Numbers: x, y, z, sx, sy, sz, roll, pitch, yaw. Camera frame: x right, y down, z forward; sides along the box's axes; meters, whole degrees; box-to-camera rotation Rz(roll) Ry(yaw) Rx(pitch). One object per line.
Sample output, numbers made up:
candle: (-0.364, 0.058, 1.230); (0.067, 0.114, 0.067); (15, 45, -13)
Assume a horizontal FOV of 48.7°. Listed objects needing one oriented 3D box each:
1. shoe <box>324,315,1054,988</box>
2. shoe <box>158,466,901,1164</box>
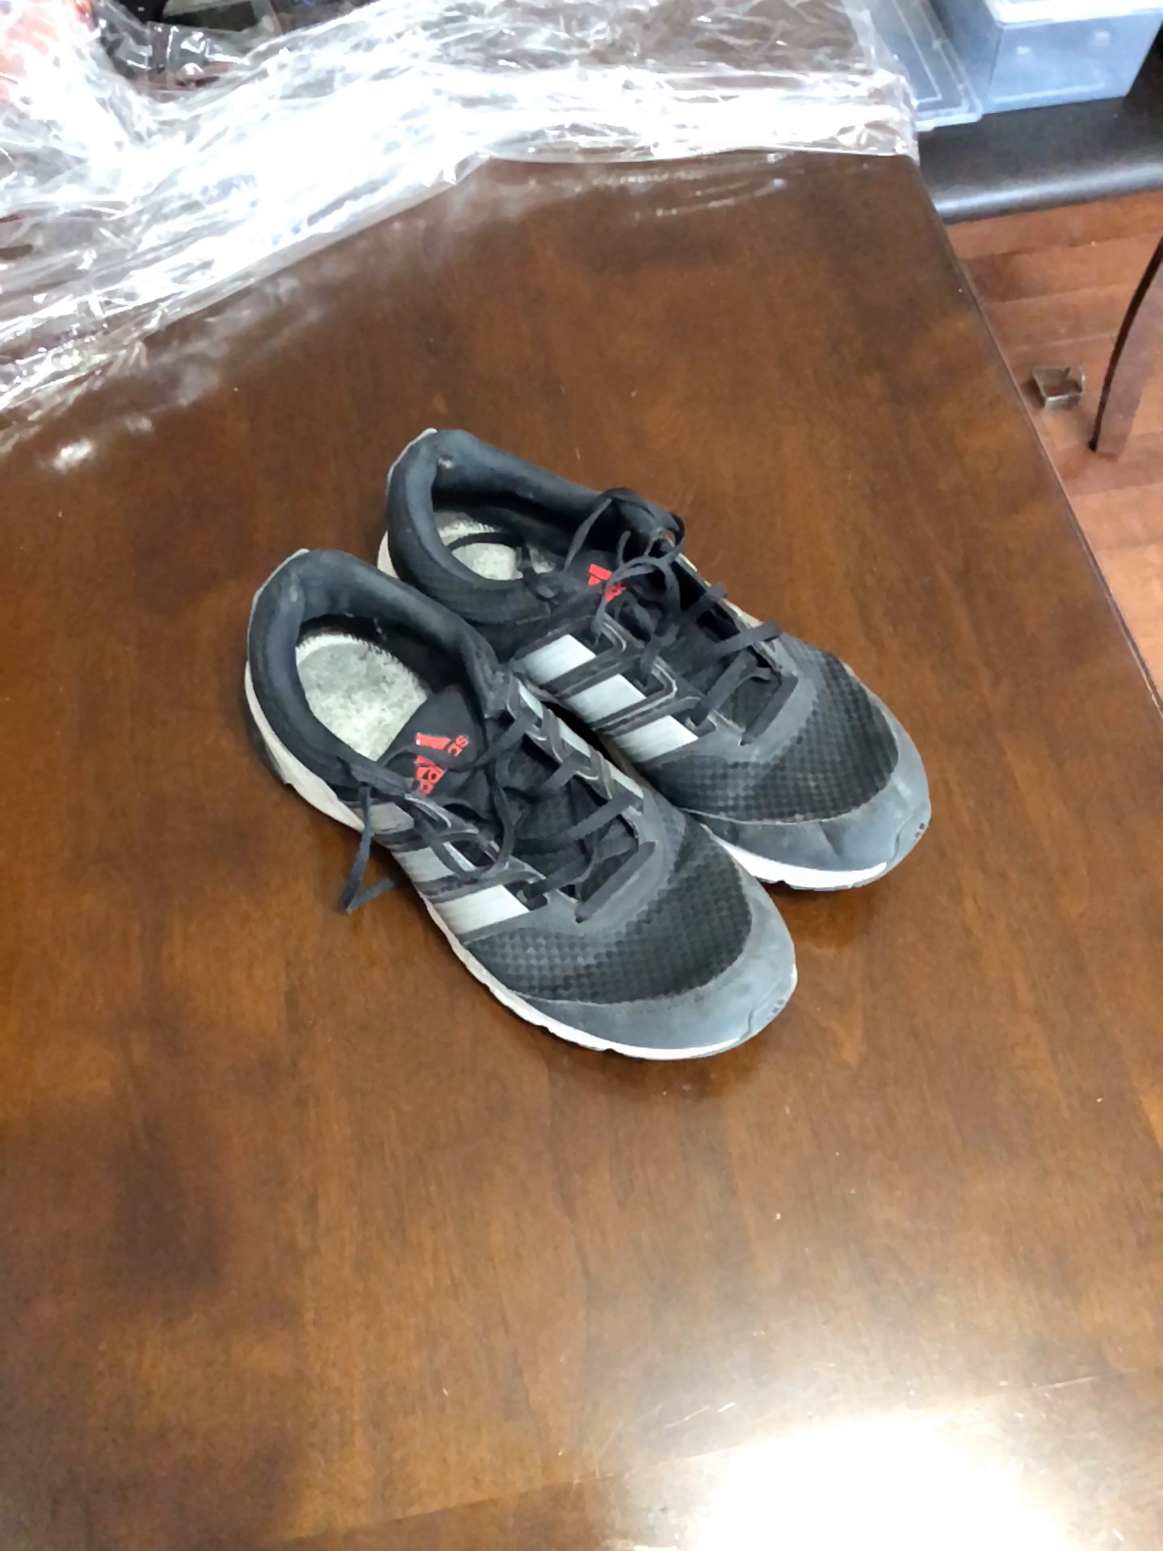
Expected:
shoe: (0.038, -0.060, 0.587); (0.290, 0.130, 0.120); (38, 68, 19)
shoe: (-0.028, 0.013, 0.563); (0.290, 0.120, 0.120); (38, 68, 19)
